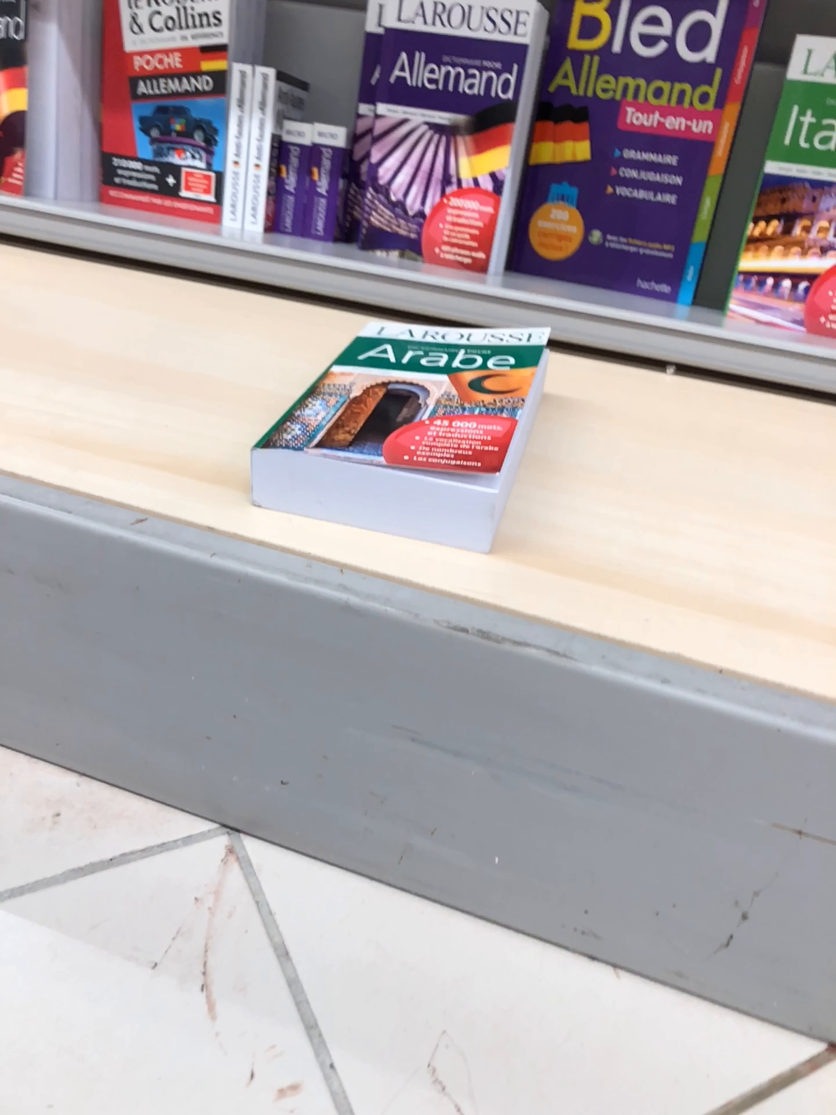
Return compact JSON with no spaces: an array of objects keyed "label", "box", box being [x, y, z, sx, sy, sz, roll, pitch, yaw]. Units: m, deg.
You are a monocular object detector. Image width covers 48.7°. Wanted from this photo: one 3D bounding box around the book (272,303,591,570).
[{"label":"book","box":[0.016,-0.070,0.456,0.111,0.045,0.183,13,32,10]}]
